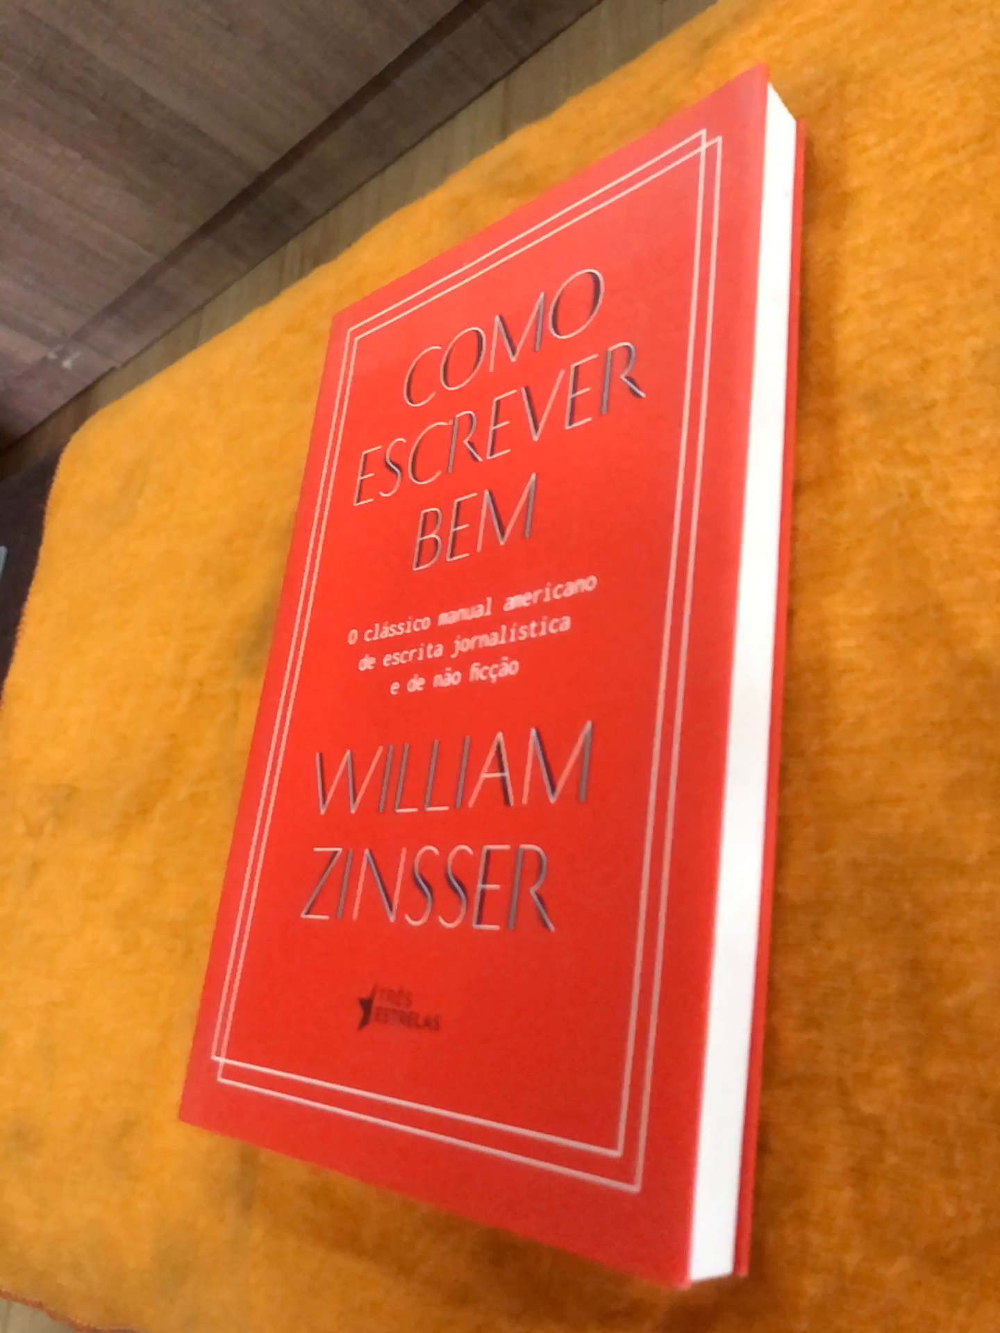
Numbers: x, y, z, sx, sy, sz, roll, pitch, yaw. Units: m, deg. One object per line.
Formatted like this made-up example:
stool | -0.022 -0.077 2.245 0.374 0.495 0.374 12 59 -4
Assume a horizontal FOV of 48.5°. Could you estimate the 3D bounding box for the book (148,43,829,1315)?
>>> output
book | -0.007 -0.003 0.219 0.141 0.020 0.196 -10 66 46
